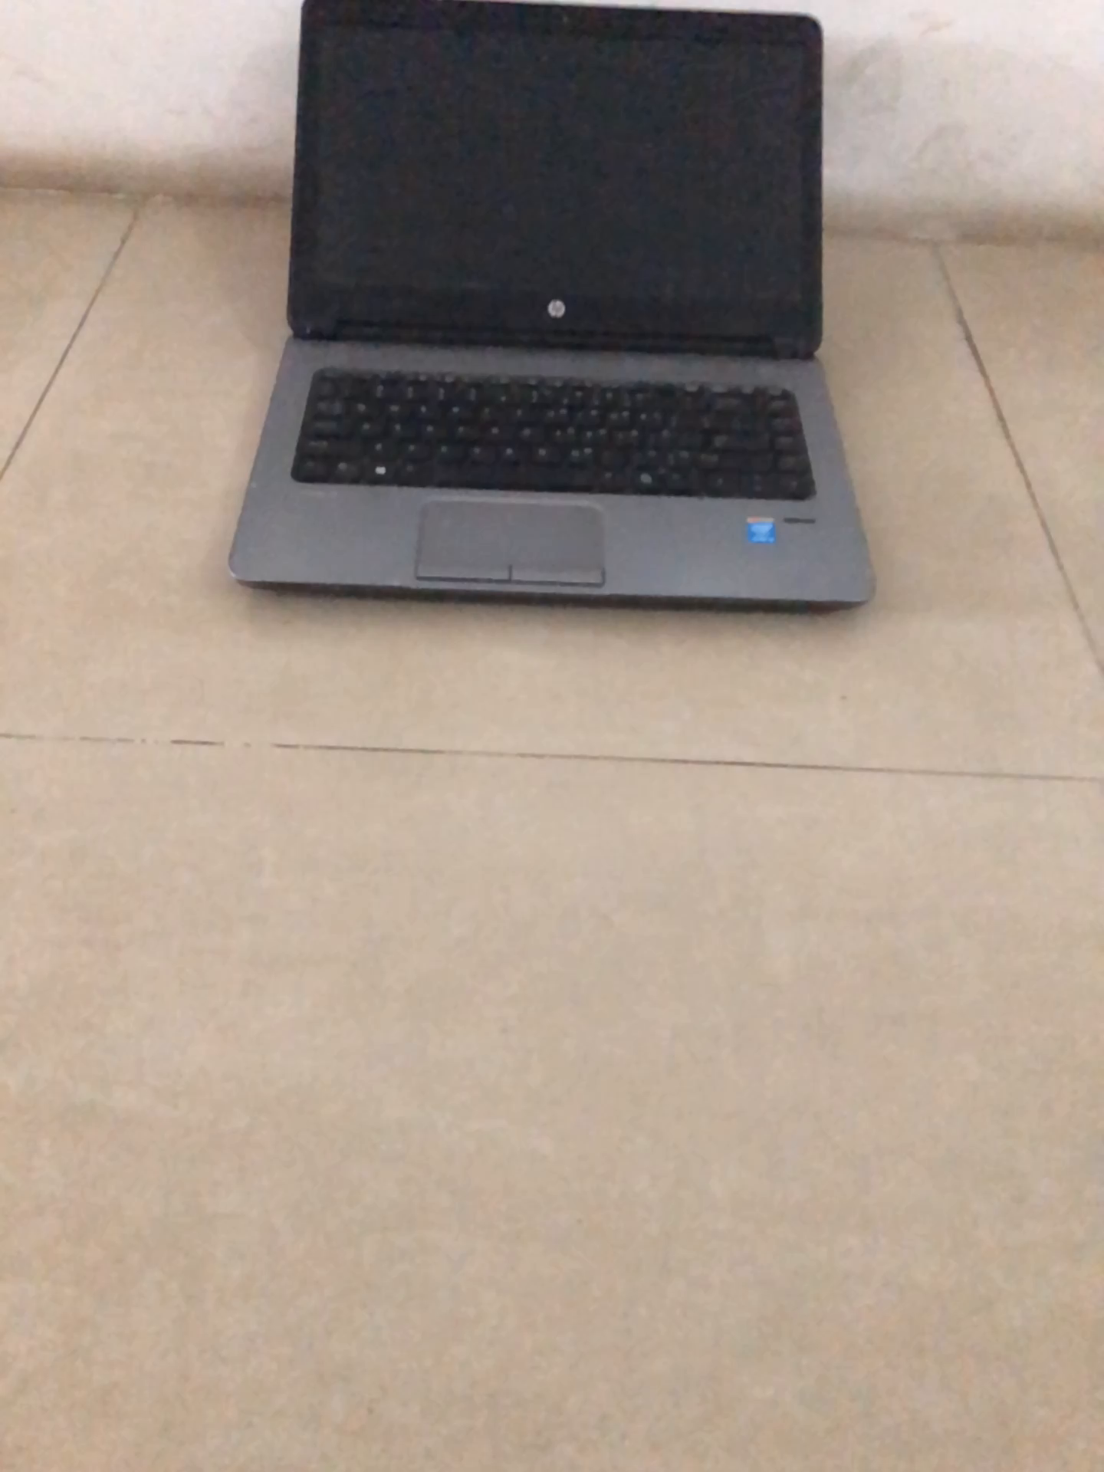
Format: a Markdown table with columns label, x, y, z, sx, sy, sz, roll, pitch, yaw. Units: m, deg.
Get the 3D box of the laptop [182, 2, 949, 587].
| label | x | y | z | sx | sy | sz | roll | pitch | yaw |
| --- | --- | --- | --- | --- | --- | --- | --- | --- | --- |
| laptop | 0.006 | -0.269 | 0.689 | 0.318 | 0.146 | 0.387 | 2 | 47 | -1 |
